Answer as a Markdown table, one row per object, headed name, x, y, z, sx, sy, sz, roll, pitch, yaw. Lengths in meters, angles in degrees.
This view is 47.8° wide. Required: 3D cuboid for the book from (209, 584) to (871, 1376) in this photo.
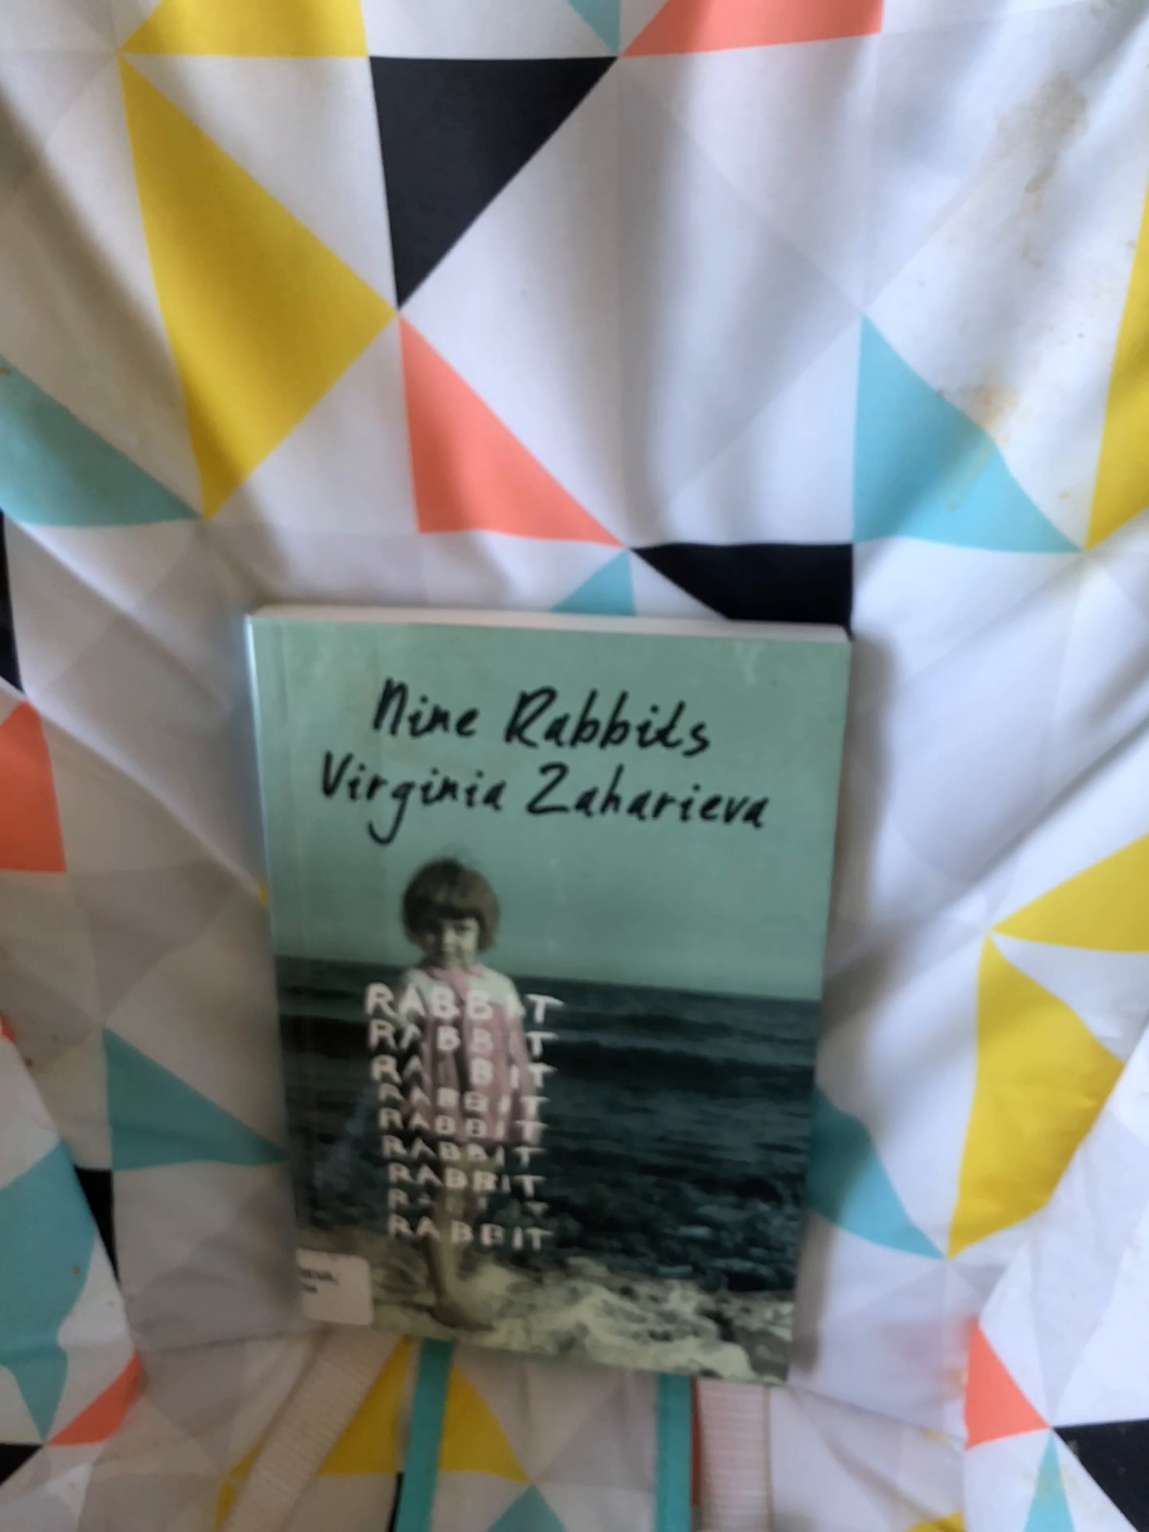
| name | x | y | z | sx | sy | sz | roll | pitch | yaw |
| --- | --- | --- | --- | --- | --- | --- | --- | --- | --- |
| book | -0.010 | 0.059 | 0.327 | 0.145 | 0.025 | 0.200 | 3 | 110 | 6 |
